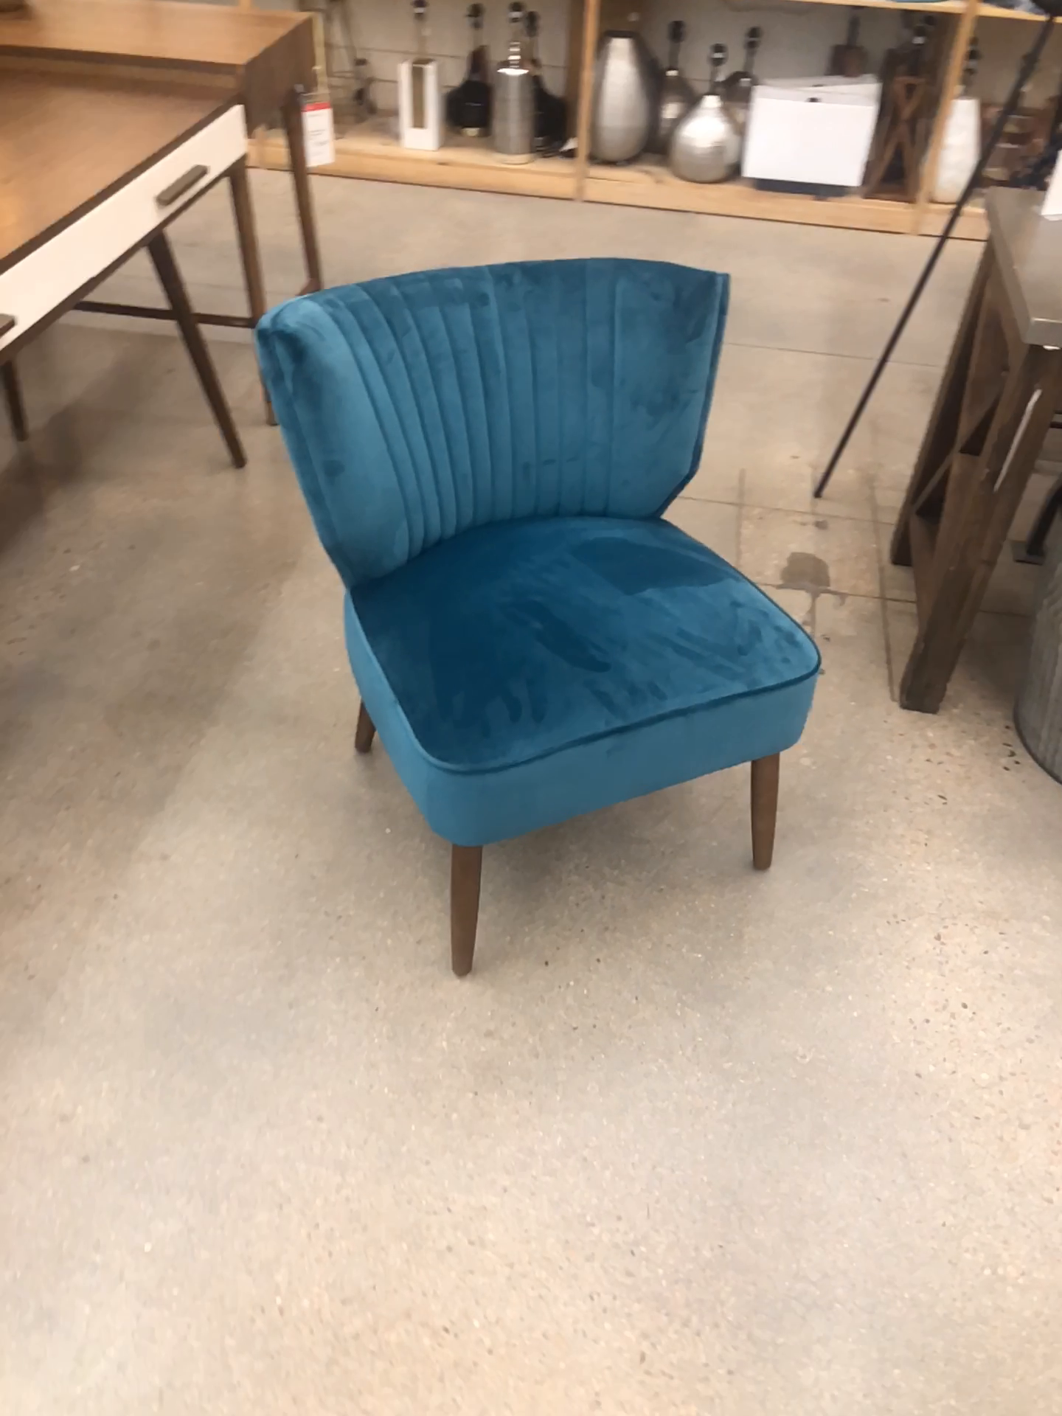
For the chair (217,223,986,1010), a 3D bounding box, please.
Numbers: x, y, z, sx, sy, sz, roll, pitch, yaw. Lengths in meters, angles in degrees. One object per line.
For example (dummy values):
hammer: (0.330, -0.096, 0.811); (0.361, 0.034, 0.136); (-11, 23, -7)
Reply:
chair: (0.034, -0.165, 1.572); (0.661, 0.677, 0.662); (-16, 44, -21)
